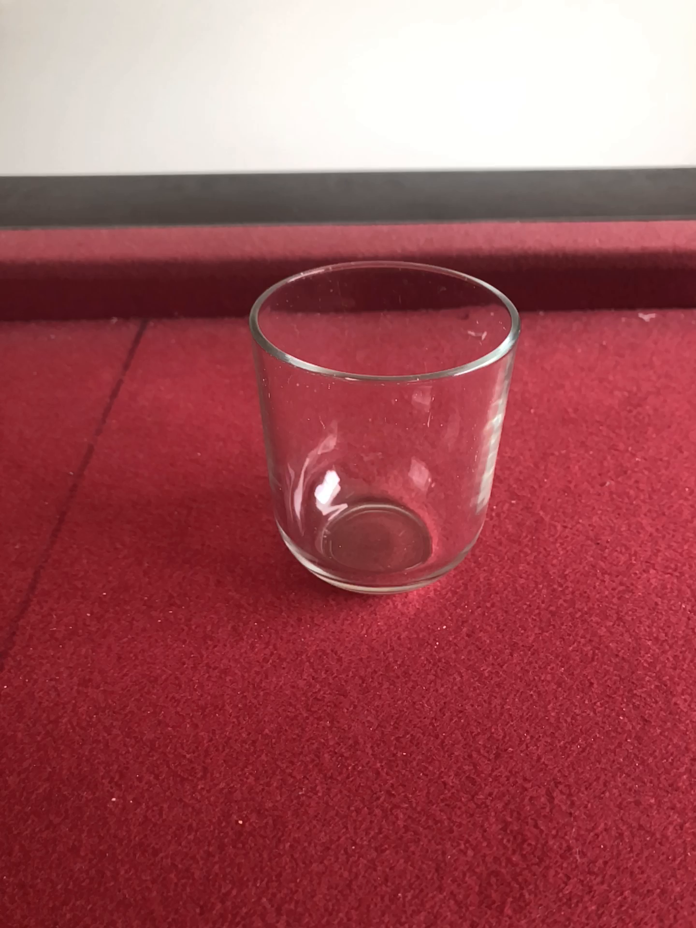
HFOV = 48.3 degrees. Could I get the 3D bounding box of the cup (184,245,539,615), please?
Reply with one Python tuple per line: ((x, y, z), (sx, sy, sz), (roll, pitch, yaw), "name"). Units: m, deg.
((0.007, -0.014, 0.226), (0.080, 0.070, 0.081), (0, 36, 0), "cup")
